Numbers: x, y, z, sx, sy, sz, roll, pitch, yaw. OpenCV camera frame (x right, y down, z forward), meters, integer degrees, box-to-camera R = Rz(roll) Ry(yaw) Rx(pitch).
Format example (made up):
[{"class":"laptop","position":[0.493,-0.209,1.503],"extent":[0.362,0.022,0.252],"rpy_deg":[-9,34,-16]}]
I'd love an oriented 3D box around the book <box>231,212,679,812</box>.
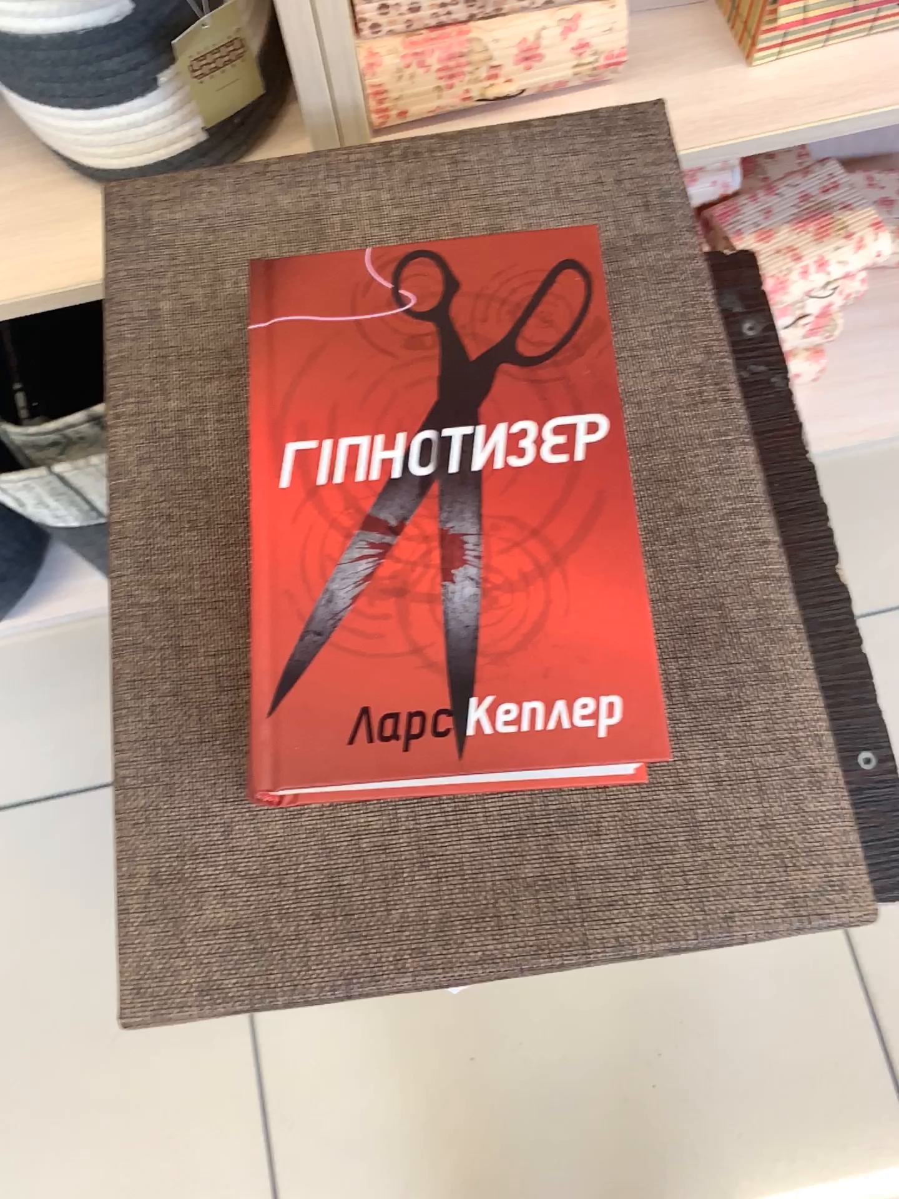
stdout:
[{"class":"book","position":[-0.001,-0.030,0.329],"extent":[0.131,0.060,0.195],"rpy_deg":[-4,71,5]}]
